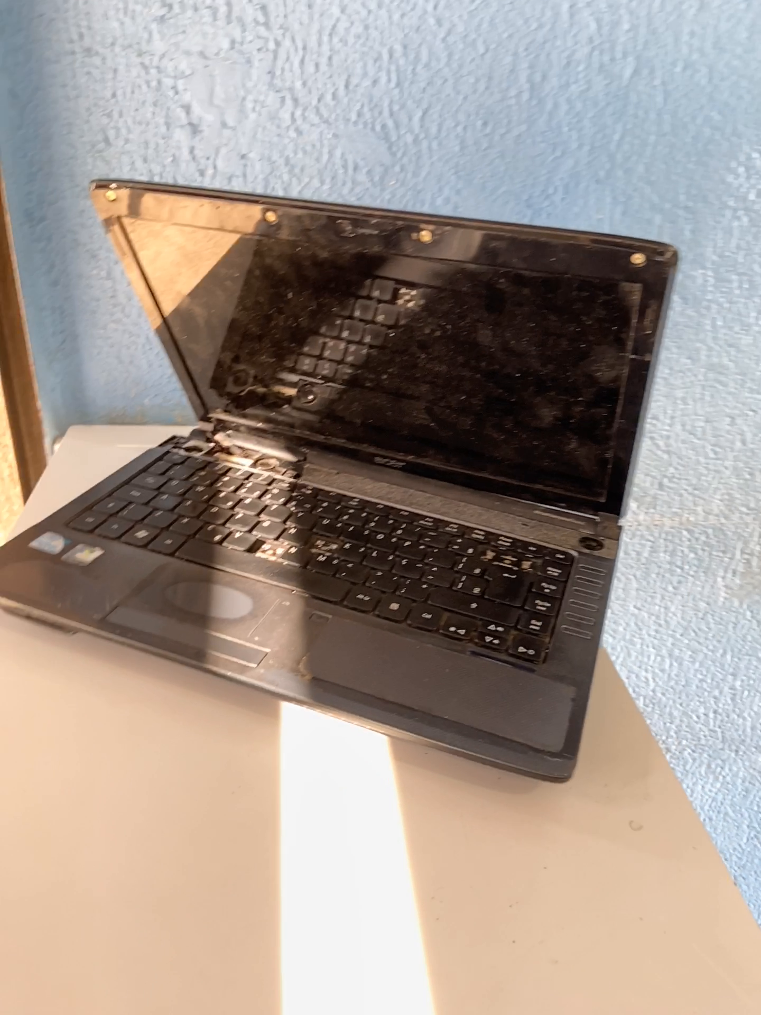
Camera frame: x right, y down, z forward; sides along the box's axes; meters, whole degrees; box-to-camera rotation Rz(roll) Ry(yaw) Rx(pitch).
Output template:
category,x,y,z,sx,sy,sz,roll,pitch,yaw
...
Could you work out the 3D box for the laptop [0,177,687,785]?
category,x,y,z,sx,sy,sz,roll,pitch,yaw
laptop,-0.031,-0.054,0.430,0.334,0.182,0.229,13,31,17
